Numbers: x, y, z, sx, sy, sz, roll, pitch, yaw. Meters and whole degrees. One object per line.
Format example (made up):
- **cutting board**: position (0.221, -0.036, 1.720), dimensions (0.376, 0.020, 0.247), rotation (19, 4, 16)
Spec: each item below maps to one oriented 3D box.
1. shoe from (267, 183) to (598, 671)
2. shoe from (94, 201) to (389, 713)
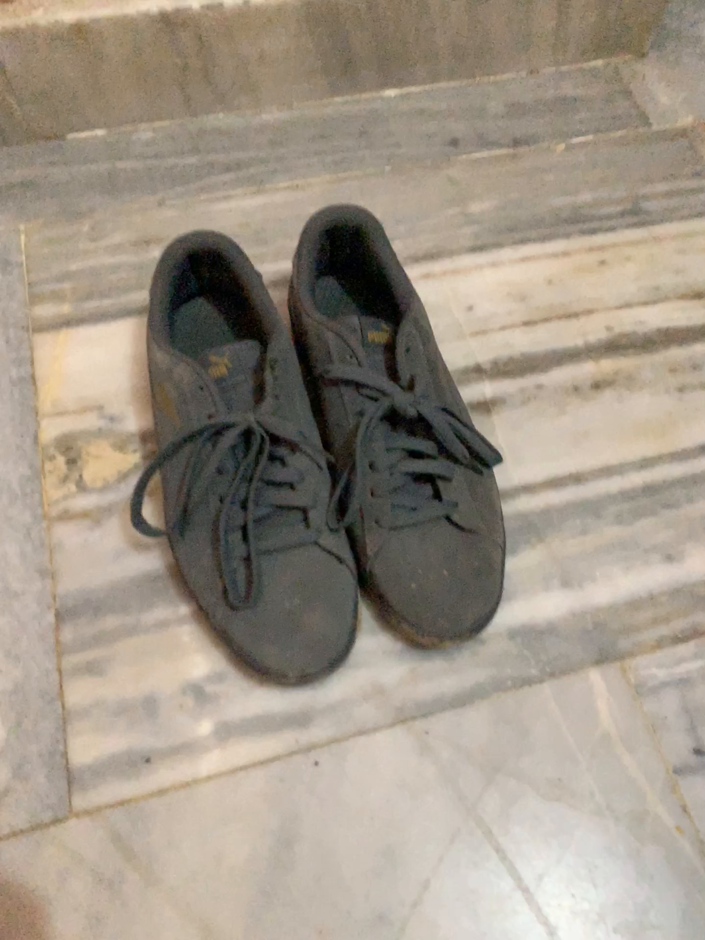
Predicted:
- **shoe**: position (0.032, -0.037, 0.464), dimensions (0.110, 0.100, 0.290), rotation (-12, 64, -9)
- **shoe**: position (-0.076, -0.018, 0.445), dimensions (0.110, 0.100, 0.290), rotation (-12, 64, -9)
